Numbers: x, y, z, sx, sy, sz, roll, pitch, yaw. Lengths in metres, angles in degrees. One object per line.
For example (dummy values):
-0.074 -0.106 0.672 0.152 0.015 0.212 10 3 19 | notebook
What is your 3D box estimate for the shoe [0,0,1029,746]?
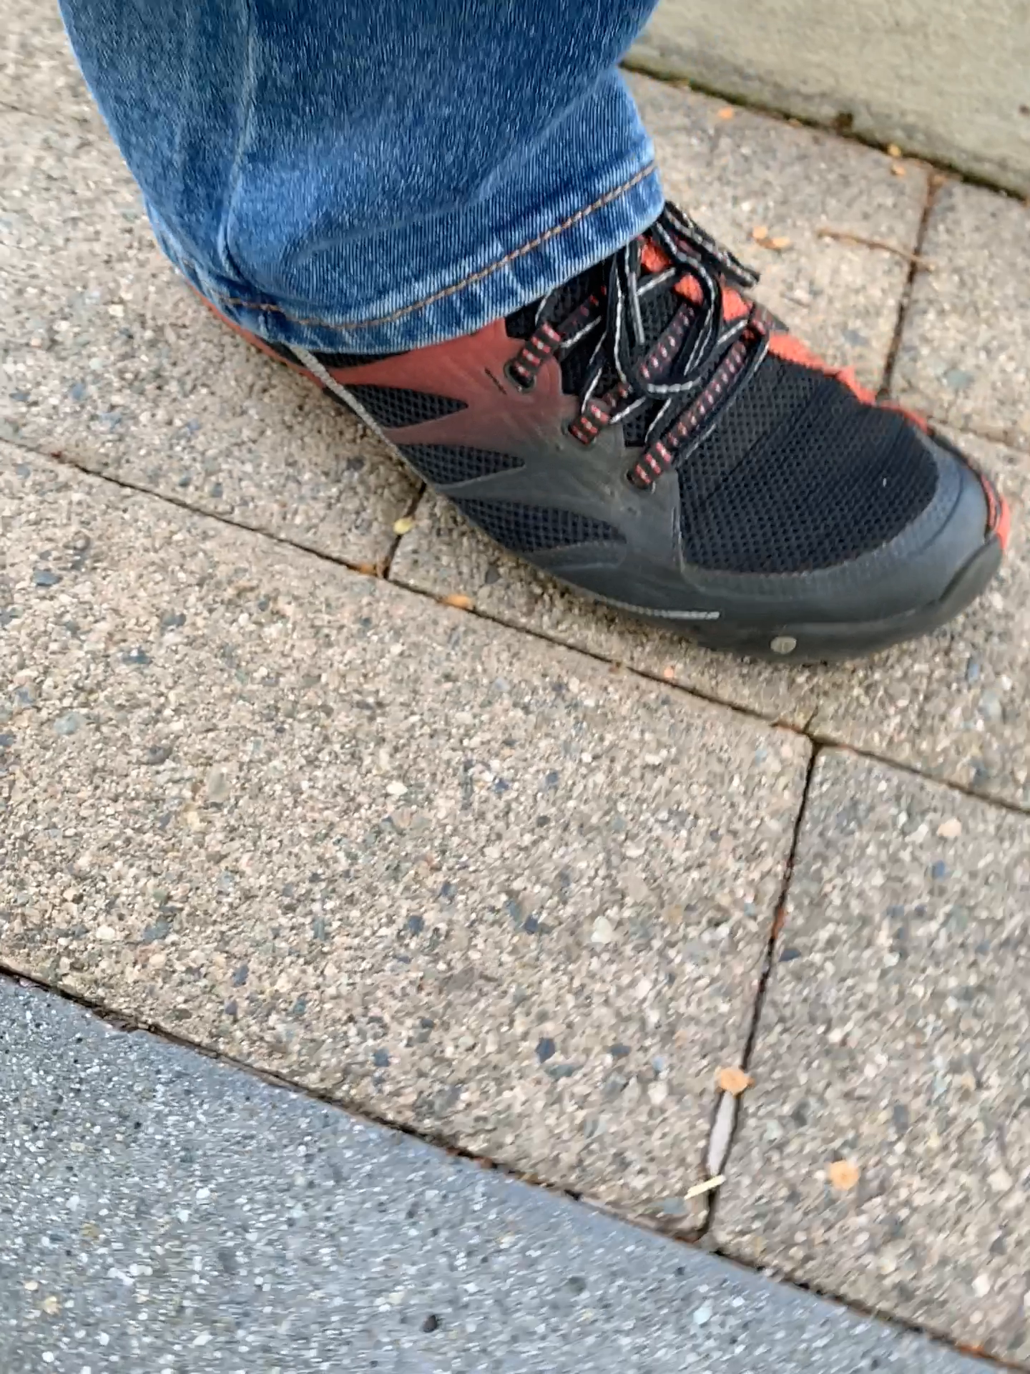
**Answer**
0.011 -0.121 0.330 0.306 0.080 0.137 26 61 7 | shoe
